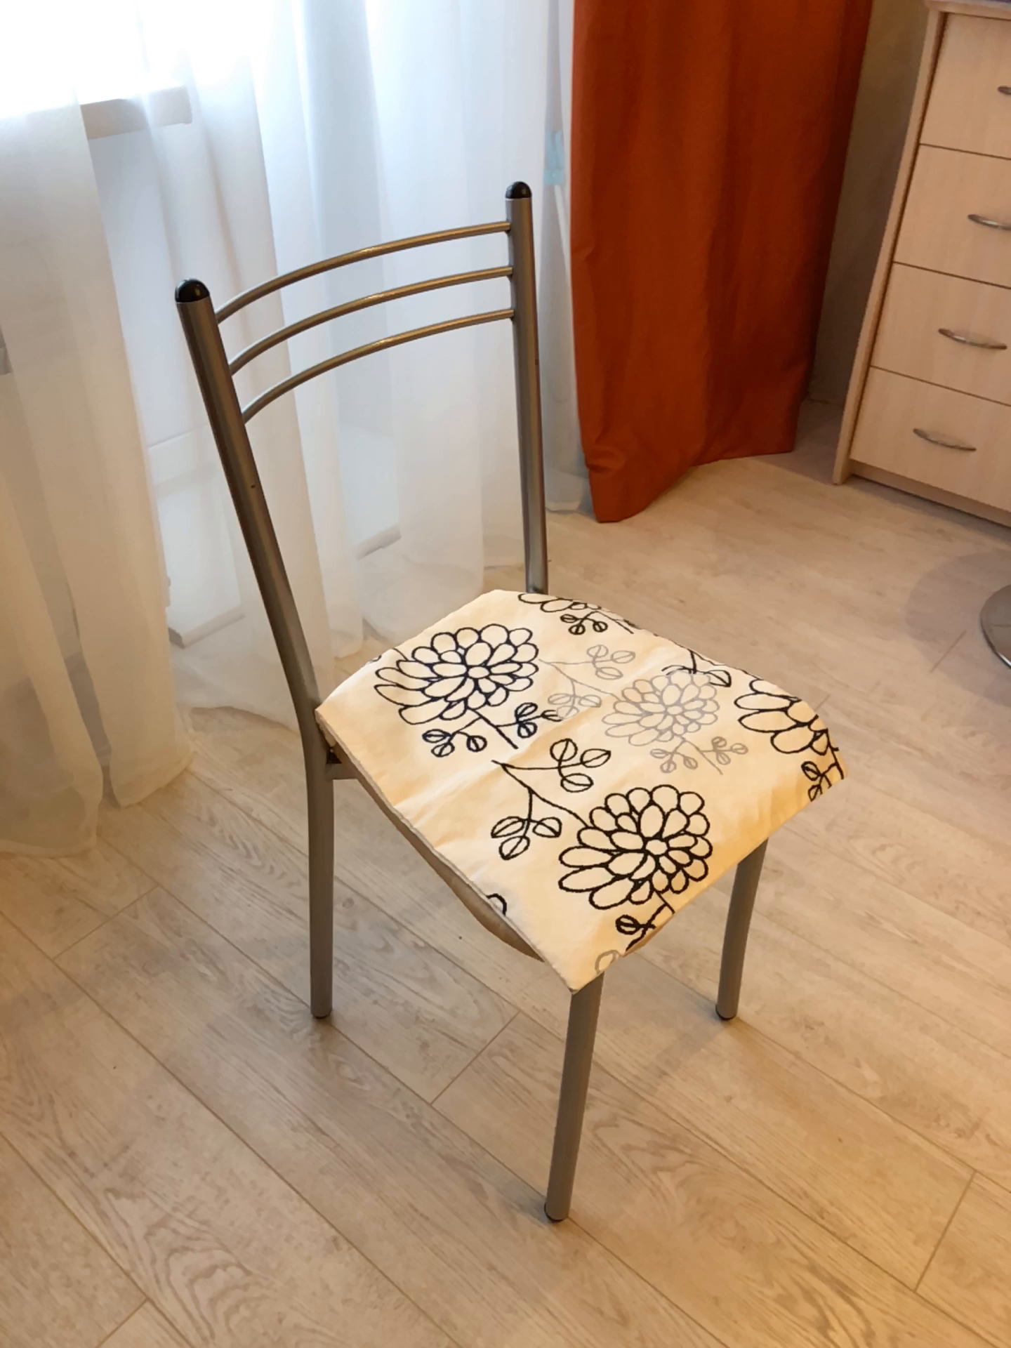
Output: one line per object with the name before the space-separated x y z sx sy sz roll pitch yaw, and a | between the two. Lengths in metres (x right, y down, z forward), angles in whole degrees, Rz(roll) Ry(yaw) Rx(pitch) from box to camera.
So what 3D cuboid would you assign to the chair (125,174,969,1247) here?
chair | 0.033 0.035 1.033 0.441 0.794 0.422 27 45 30
